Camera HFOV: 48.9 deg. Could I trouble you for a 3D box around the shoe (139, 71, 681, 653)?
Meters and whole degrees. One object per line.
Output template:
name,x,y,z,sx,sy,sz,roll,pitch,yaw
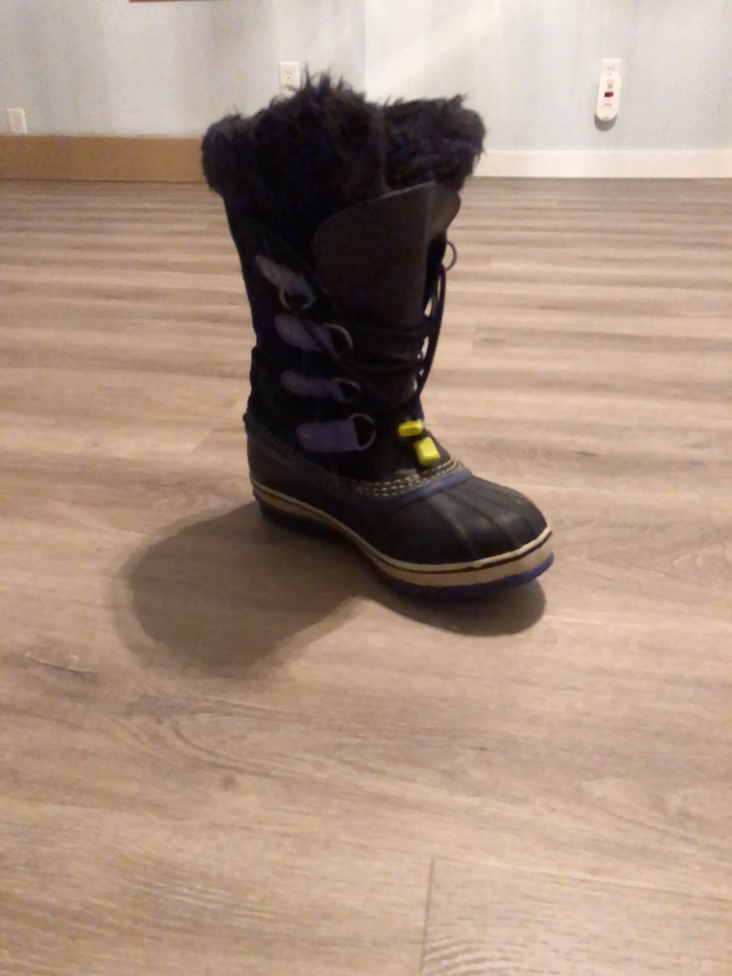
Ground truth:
shoe,0.018,-0.098,0.491,0.241,0.269,0.170,22,33,39
